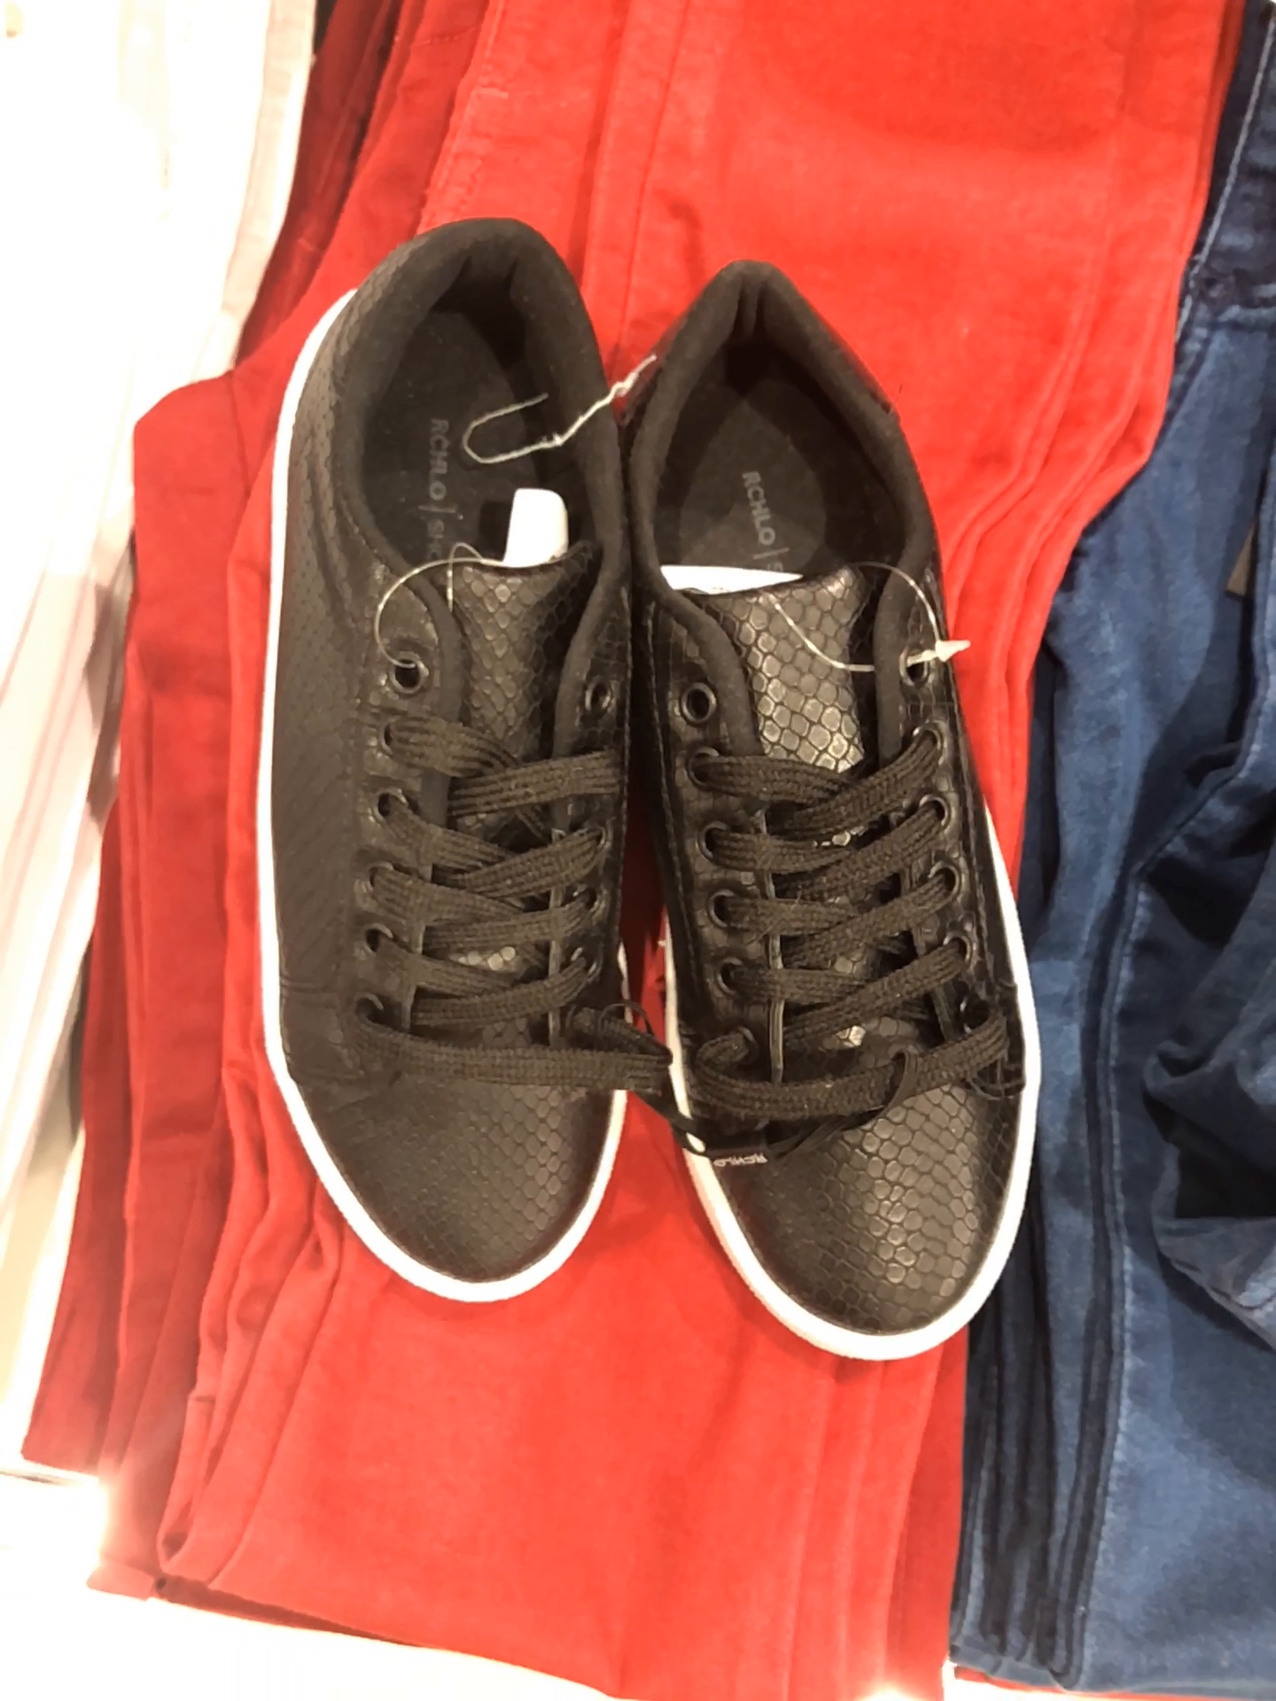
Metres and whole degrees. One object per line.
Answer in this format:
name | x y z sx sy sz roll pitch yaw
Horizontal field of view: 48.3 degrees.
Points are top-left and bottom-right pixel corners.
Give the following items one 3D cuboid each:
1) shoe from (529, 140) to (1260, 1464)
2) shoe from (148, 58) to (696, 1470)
shoe | 0.039 -0.013 0.318 0.090 0.100 0.250 -8 77 -7
shoe | -0.047 -0.017 0.309 0.090 0.100 0.250 -2 89 -10
